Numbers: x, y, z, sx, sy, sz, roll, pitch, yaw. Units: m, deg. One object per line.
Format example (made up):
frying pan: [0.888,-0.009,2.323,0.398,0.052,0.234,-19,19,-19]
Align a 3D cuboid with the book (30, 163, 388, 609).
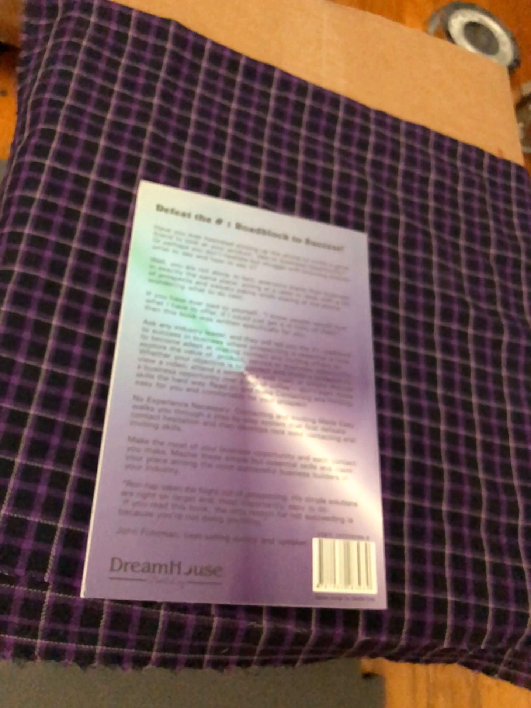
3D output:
book: [-0.018,0.012,0.314,0.160,0.020,0.221,9,65,-17]
